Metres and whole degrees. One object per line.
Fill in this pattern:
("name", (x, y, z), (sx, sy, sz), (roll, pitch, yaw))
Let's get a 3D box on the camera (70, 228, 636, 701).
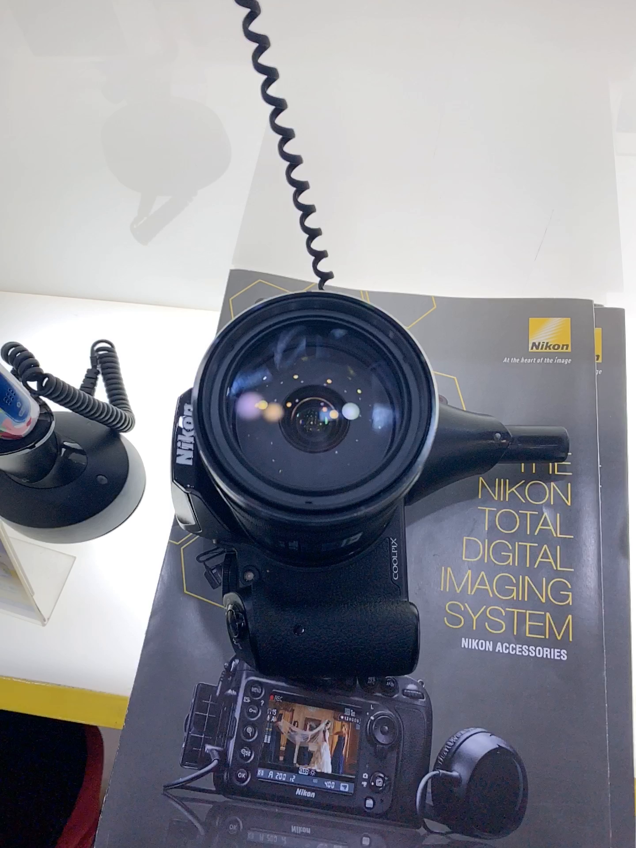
("camera", (0.035, 0.024, 0.239), (0.200, 0.100, 0.140), (2, 66, -5))
